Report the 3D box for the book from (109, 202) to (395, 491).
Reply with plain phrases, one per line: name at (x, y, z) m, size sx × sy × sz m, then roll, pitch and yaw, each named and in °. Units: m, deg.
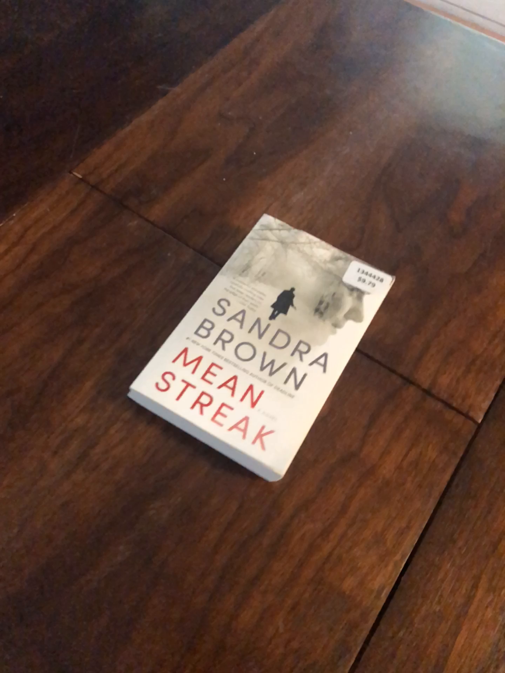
book at (0.006, -0.004, 0.455) m, size 0.137 × 0.030 × 0.207 m, roll 29°, pitch 64°, yaw 13°
